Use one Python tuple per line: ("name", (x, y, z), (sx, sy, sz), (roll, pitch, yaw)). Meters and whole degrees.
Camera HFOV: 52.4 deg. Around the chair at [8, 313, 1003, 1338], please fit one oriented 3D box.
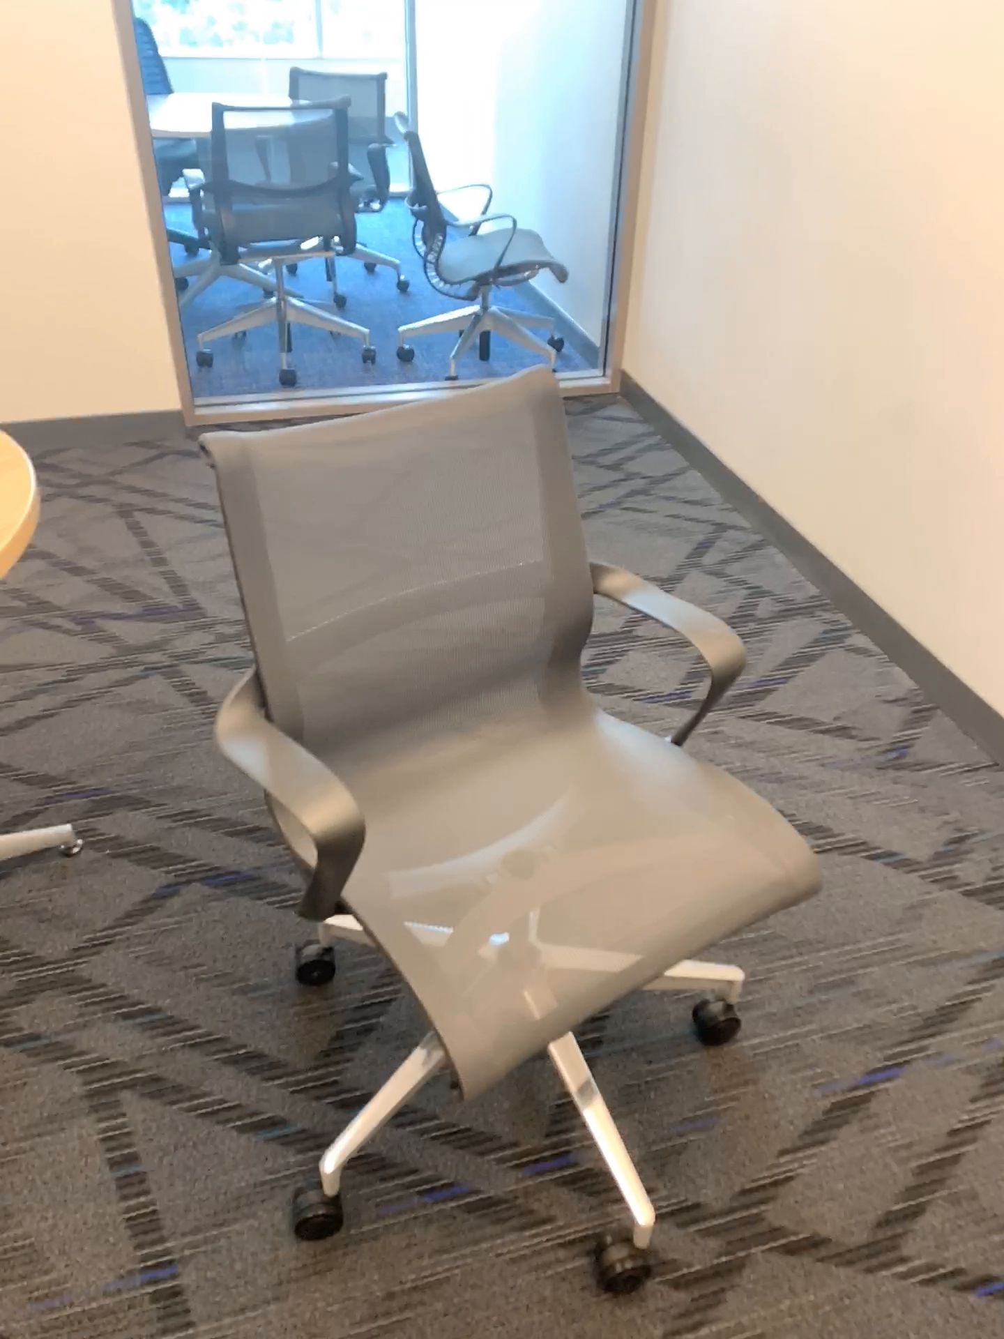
("chair", (0.043, 0.155, 1.064), (0.683, 0.753, 0.704), (-24, 41, -30))
